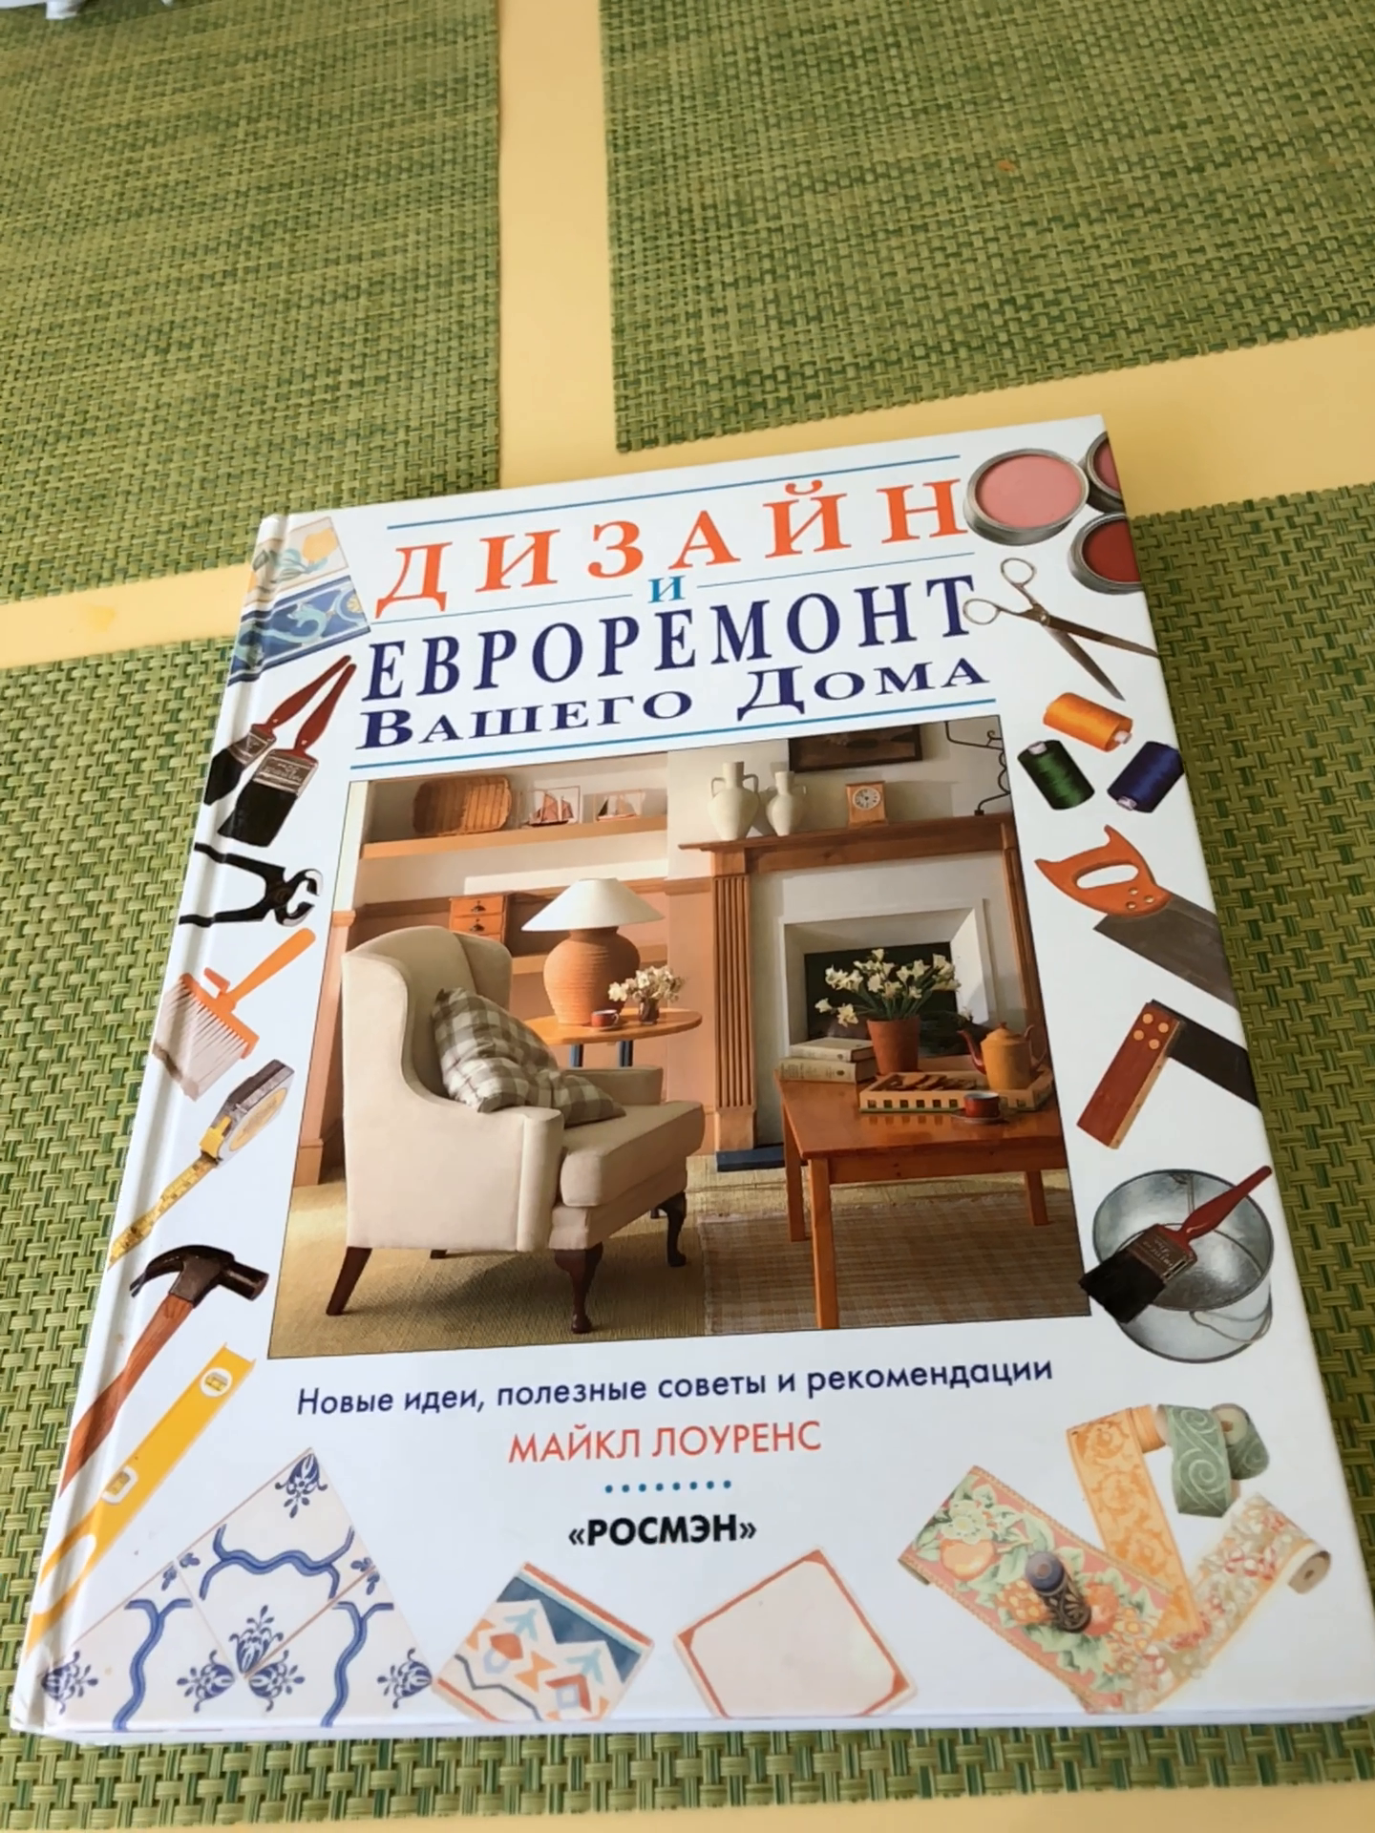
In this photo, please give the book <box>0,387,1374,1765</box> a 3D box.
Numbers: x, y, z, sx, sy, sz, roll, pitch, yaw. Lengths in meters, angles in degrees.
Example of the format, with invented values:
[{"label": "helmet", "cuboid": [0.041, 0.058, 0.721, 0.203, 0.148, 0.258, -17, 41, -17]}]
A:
[{"label": "book", "cuboid": [0.001, 0.010, 0.306, 0.212, 0.038, 0.277, -4, 56, 6]}]
